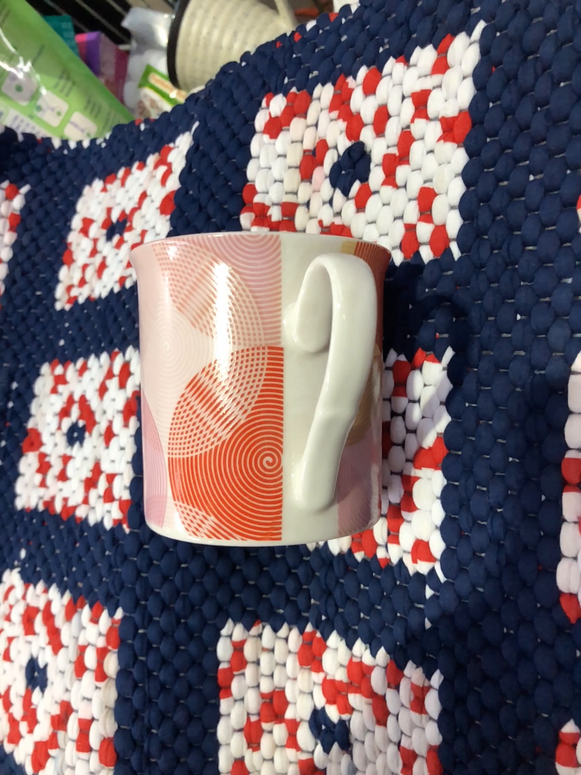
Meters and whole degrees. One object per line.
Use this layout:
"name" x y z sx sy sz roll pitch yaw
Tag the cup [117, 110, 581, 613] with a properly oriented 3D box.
"cup" 0.011 -0.002 0.205 0.120 0.100 0.100 -3 84 63
